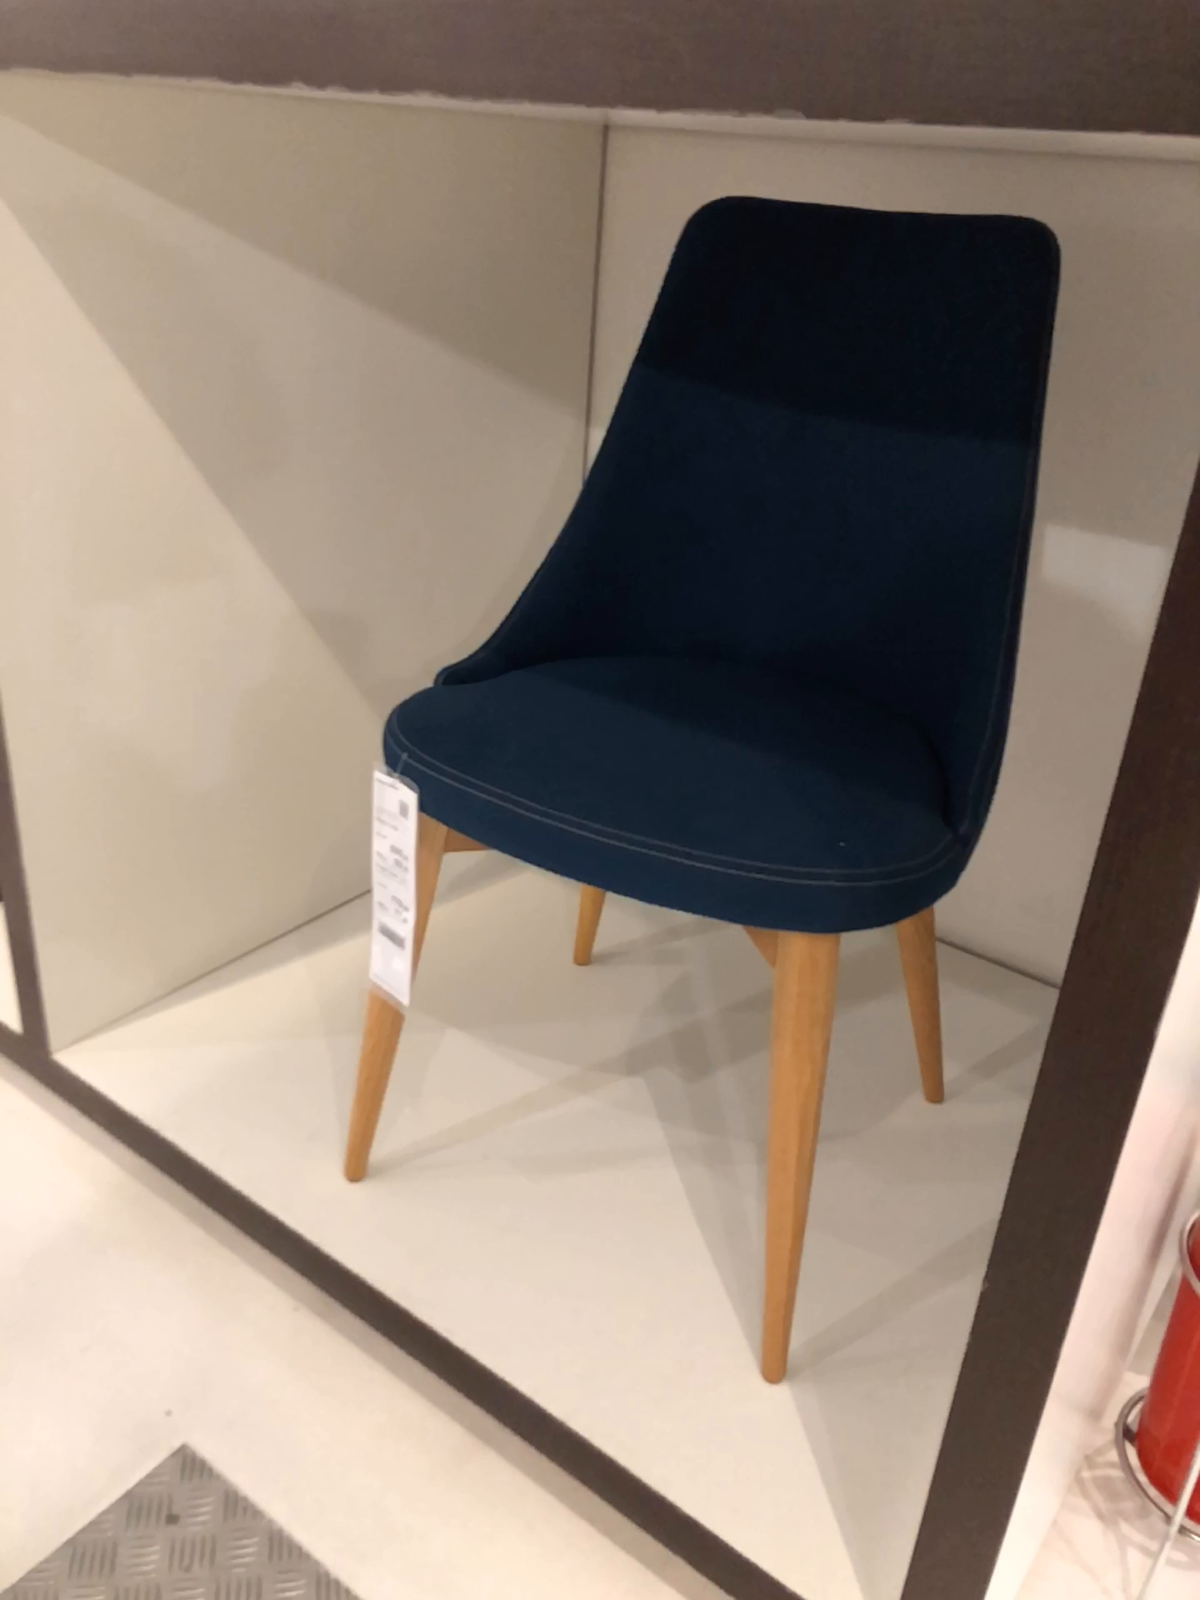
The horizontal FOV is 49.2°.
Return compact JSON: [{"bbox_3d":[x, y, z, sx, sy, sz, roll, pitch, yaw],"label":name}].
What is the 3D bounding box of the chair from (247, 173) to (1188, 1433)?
[{"bbox_3d":[0.096,-0.057,1.160,0.521,0.864,0.523,17,29,26],"label":"chair"}]
